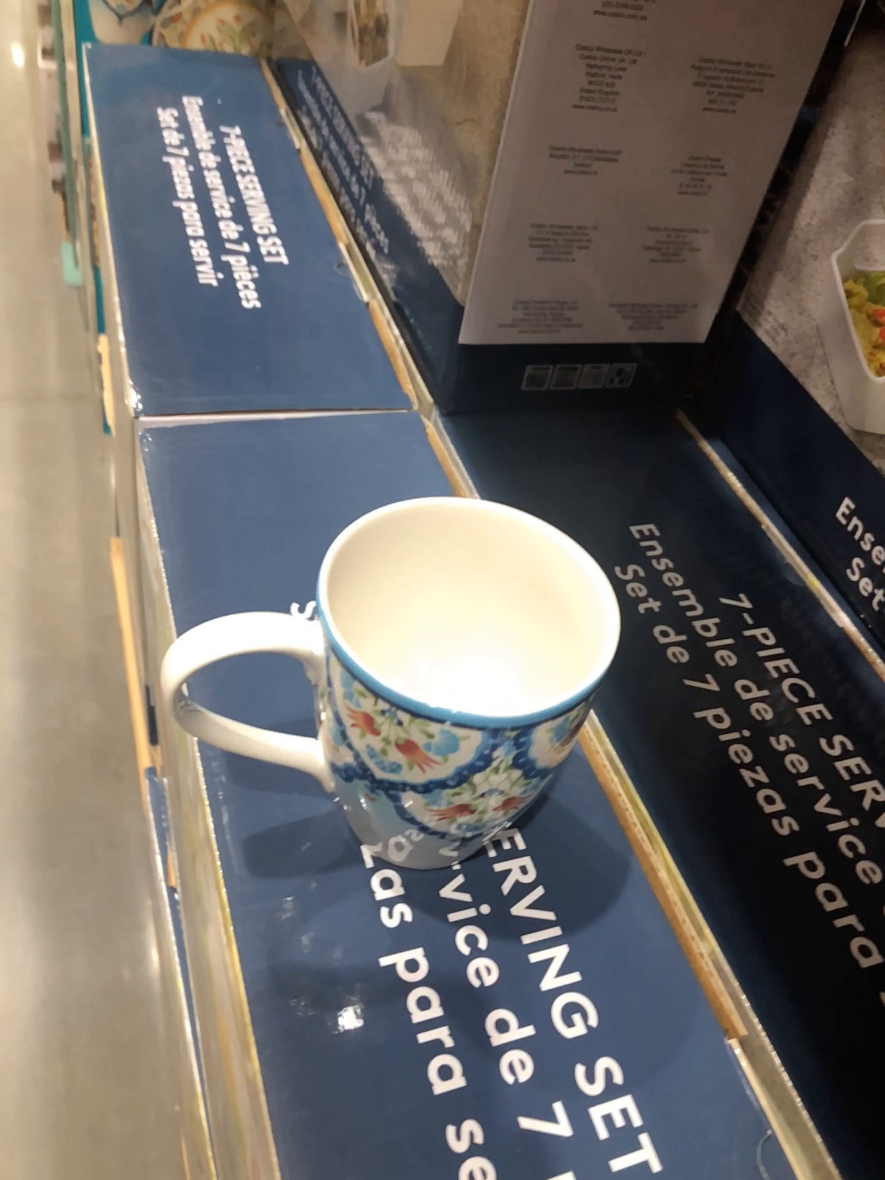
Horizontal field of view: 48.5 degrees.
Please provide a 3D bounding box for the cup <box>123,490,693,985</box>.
[{"bbox_3d":[-0.019,0.040,0.300,0.137,0.096,0.090,-6,47,-21],"label":"cup"}]
